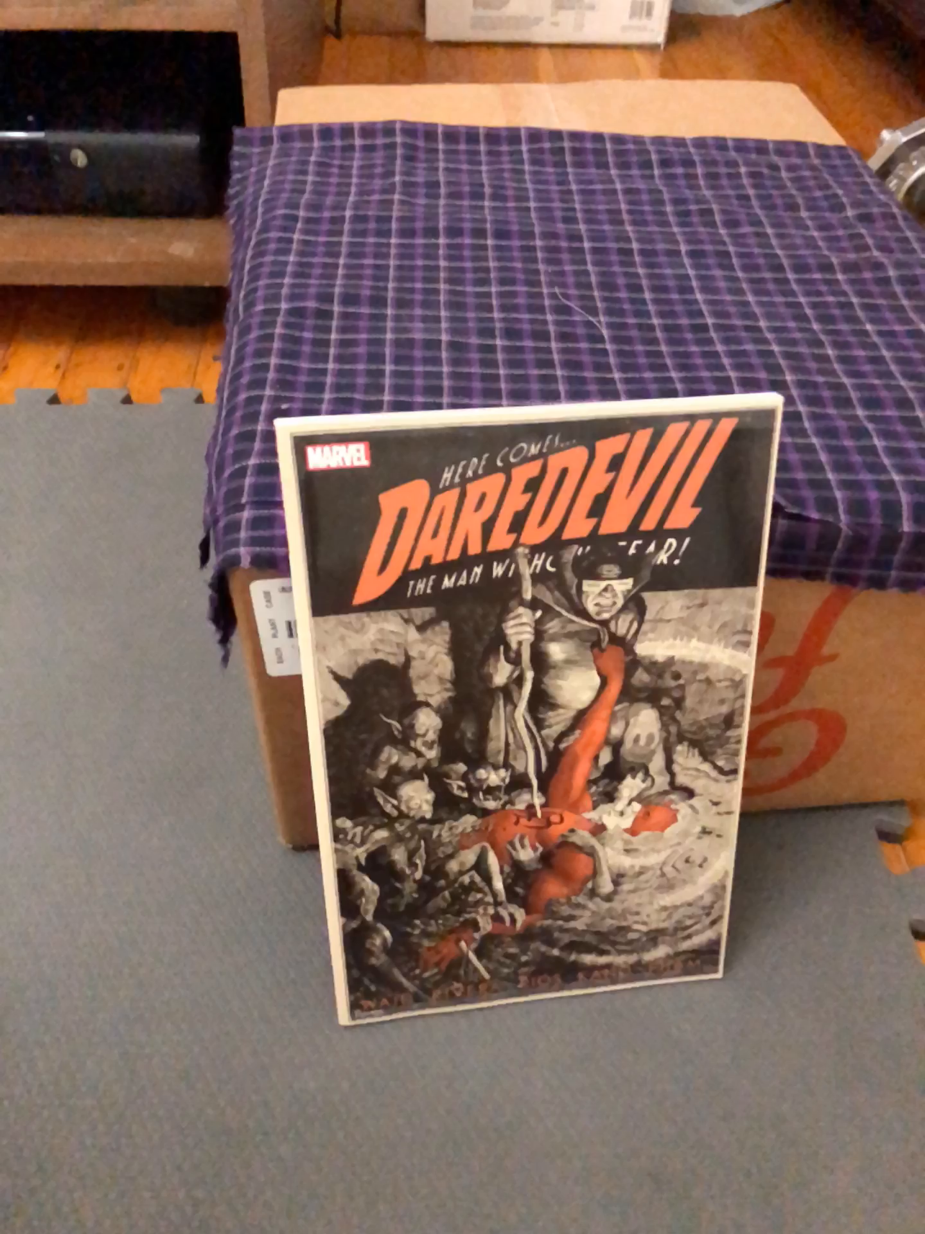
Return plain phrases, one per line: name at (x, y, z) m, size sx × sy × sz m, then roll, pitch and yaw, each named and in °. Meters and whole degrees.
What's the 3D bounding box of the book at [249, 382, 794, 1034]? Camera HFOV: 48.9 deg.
book at (0.021, 0.041, 0.350) m, size 0.160 × 0.229 × 0.020 m, roll -5°, pitch 25°, yaw -7°
